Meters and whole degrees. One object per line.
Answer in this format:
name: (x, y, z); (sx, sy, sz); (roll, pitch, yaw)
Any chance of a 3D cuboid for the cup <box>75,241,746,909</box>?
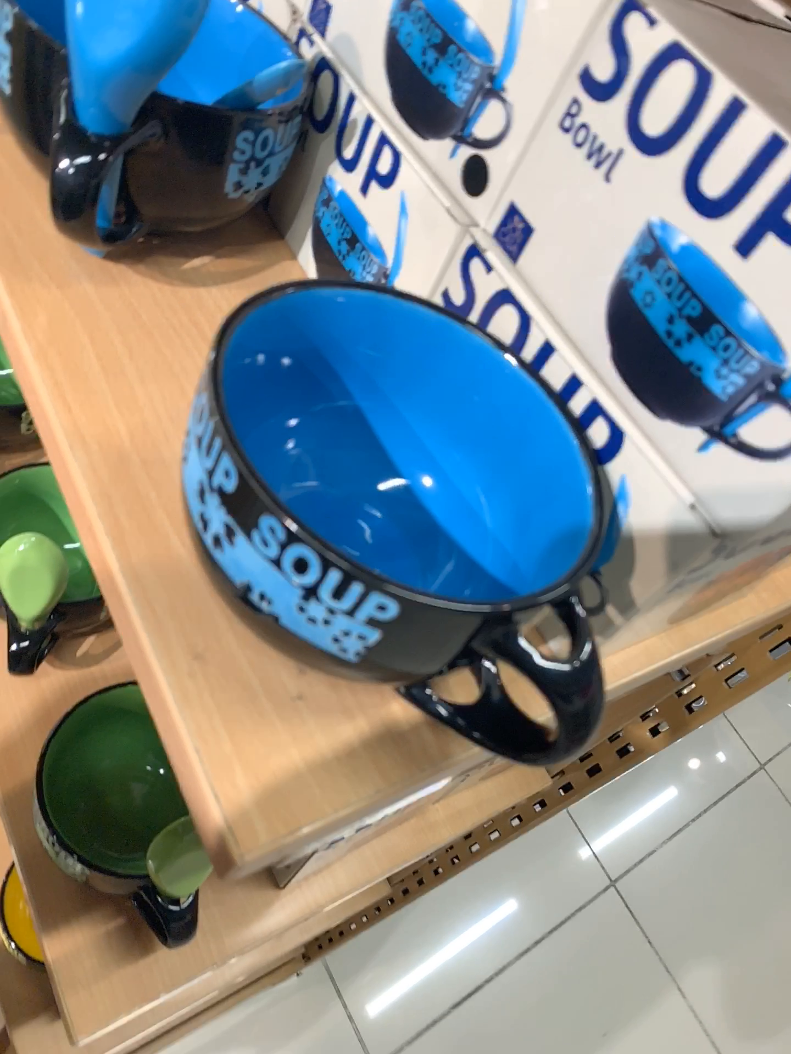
cup: (0.000, 0.000, 0.219); (0.100, 0.060, 0.150); (-24, 68, -41)
